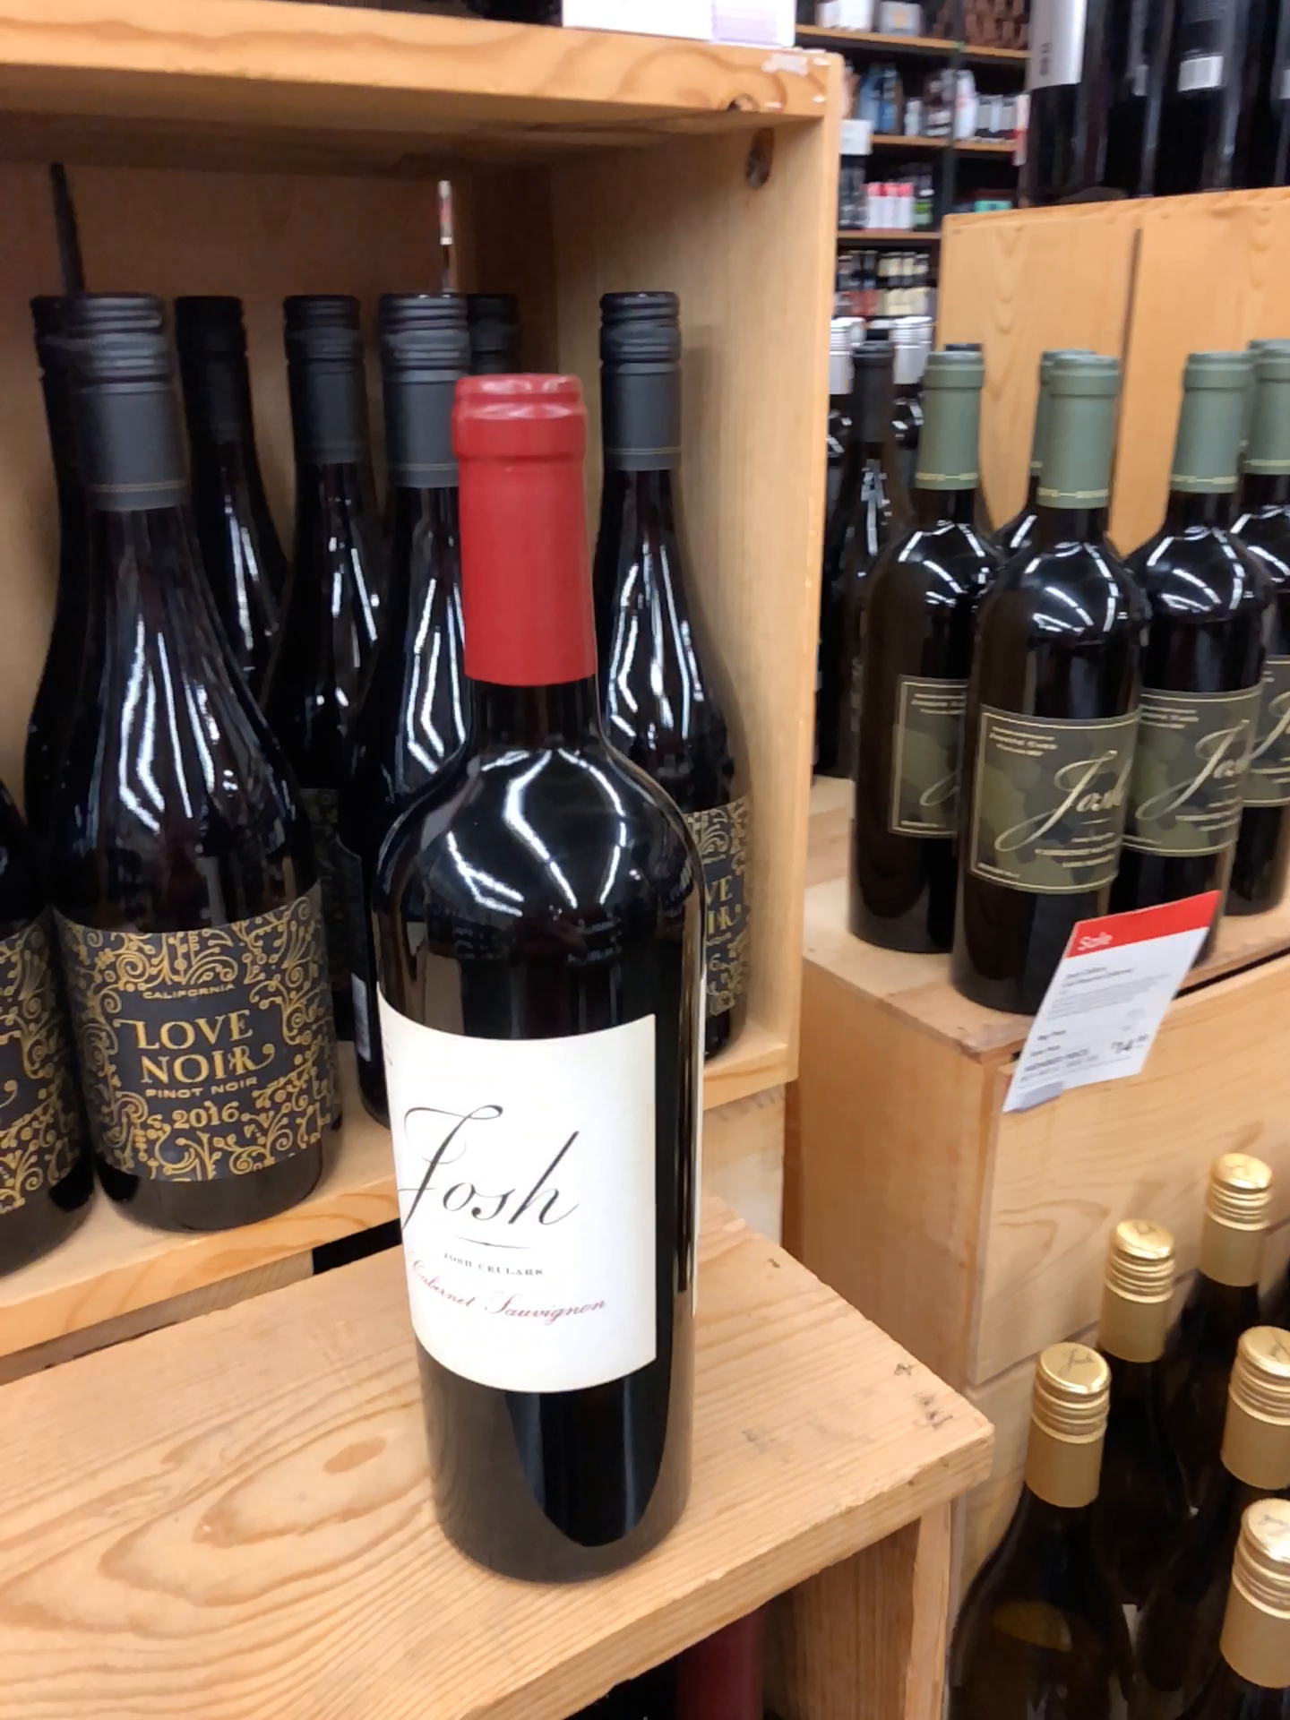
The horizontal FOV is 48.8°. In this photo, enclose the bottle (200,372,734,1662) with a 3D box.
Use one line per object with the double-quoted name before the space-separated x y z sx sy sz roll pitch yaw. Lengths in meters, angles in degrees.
"bottle" -0.031 0.039 0.344 0.080 0.293 0.081 -1 20 0
